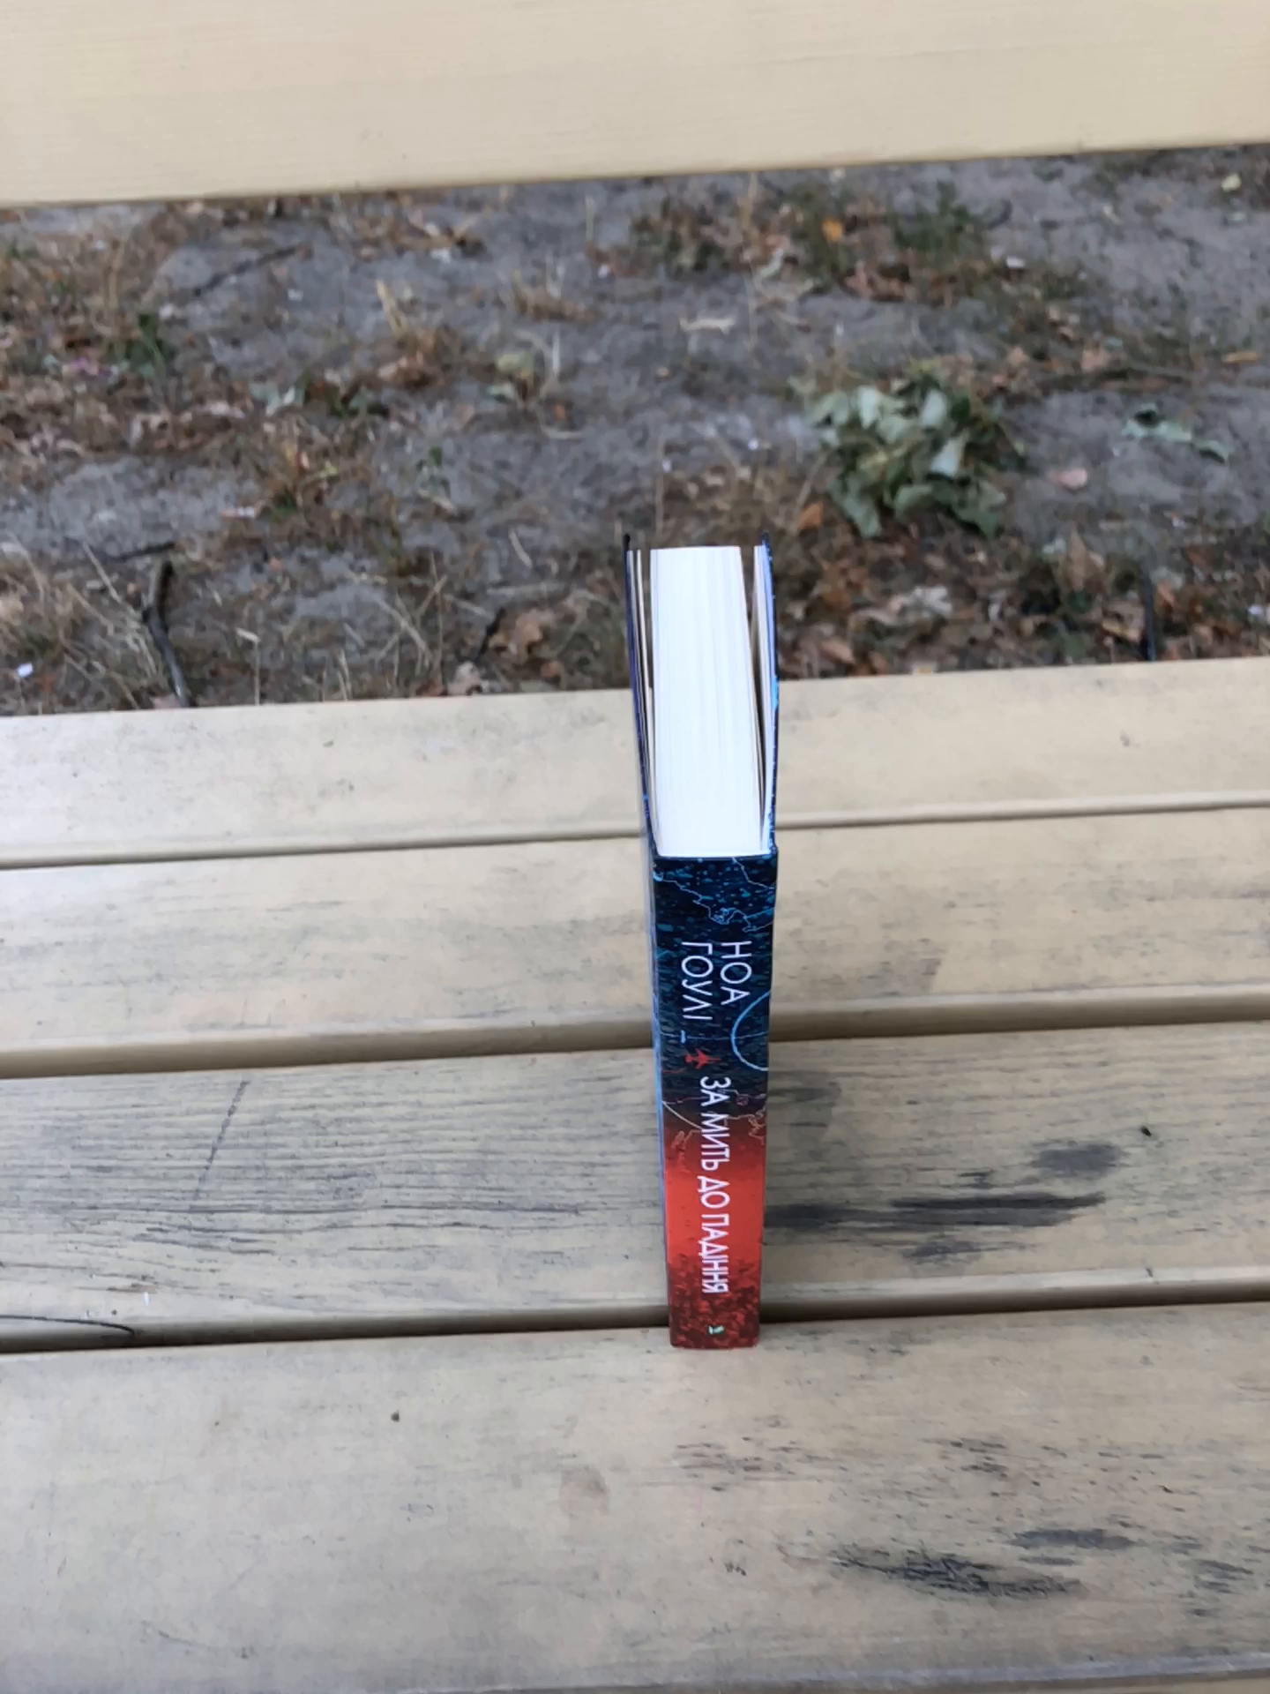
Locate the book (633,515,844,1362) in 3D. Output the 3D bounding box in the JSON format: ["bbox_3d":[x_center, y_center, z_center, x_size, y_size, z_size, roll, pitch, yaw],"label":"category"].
[{"bbox_3d":[0.022,0.031,0.397,0.040,0.198,0.141,-1,43,0],"label":"book"}]
